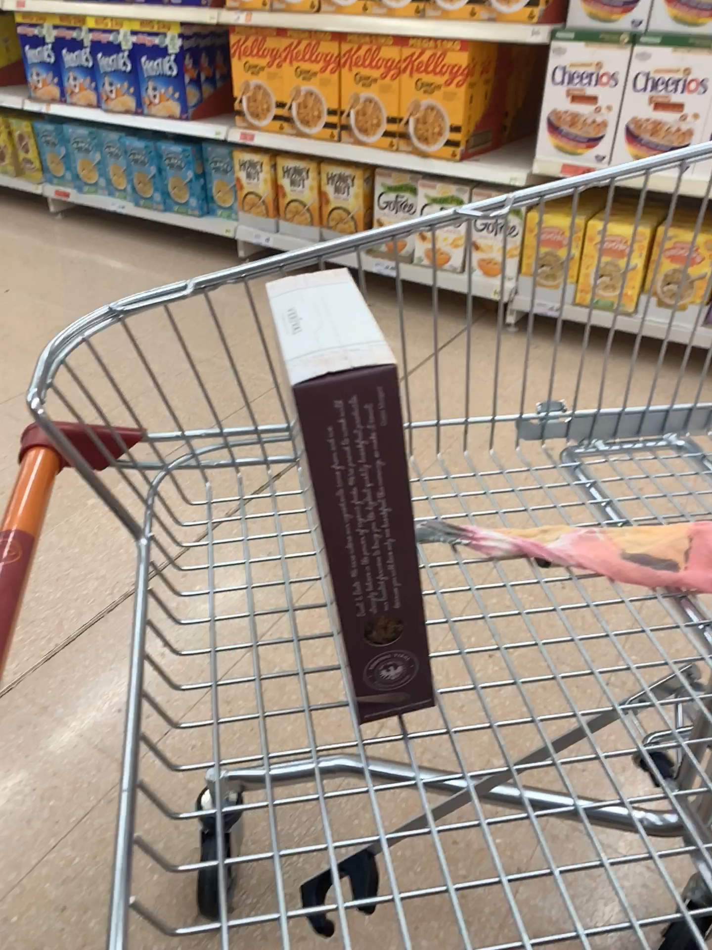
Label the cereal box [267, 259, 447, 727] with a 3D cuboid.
[{"bbox_3d":[0.002,0.011,0.413,0.050,0.218,0.141,-12,35,-4],"label":"cereal box"}]
